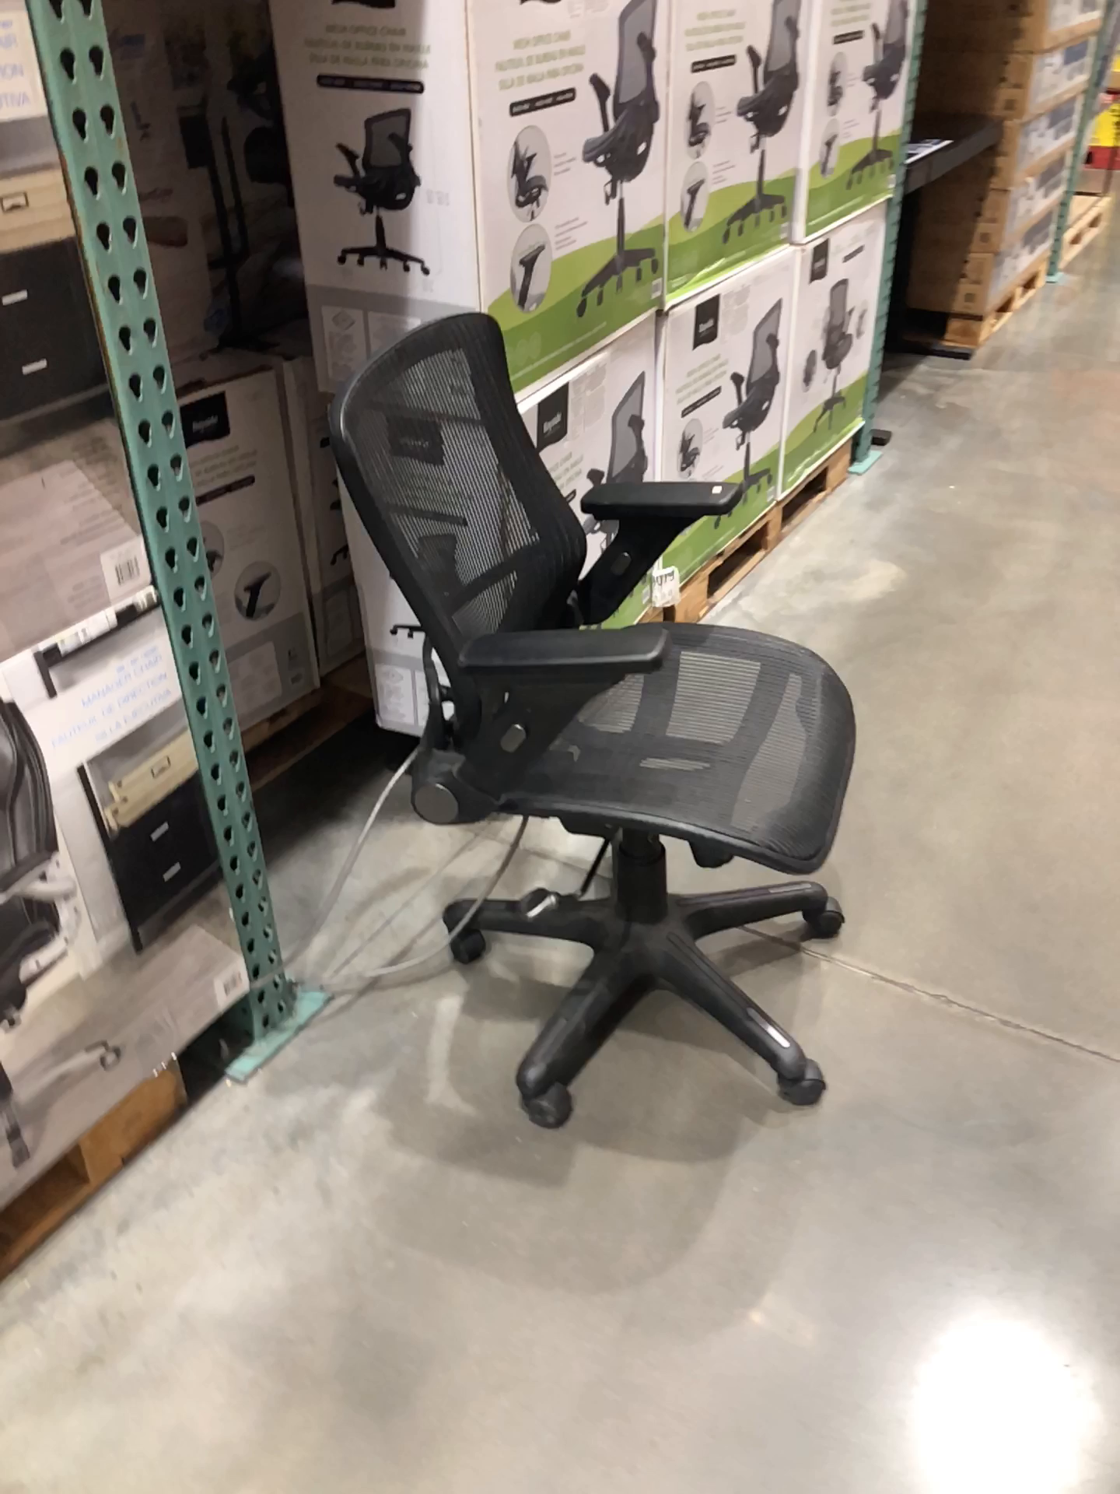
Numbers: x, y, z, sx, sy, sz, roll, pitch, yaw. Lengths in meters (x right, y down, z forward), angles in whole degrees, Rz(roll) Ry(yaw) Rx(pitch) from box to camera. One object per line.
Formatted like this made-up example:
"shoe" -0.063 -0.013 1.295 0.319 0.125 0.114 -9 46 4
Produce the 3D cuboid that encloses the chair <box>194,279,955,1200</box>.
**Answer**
"chair" 0.072 -0.046 1.645 0.698 0.936 0.637 10 35 16

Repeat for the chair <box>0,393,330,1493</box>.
"chair" -0.726 0.611 0.443 0.798 1.145 0.909 11 35 17
